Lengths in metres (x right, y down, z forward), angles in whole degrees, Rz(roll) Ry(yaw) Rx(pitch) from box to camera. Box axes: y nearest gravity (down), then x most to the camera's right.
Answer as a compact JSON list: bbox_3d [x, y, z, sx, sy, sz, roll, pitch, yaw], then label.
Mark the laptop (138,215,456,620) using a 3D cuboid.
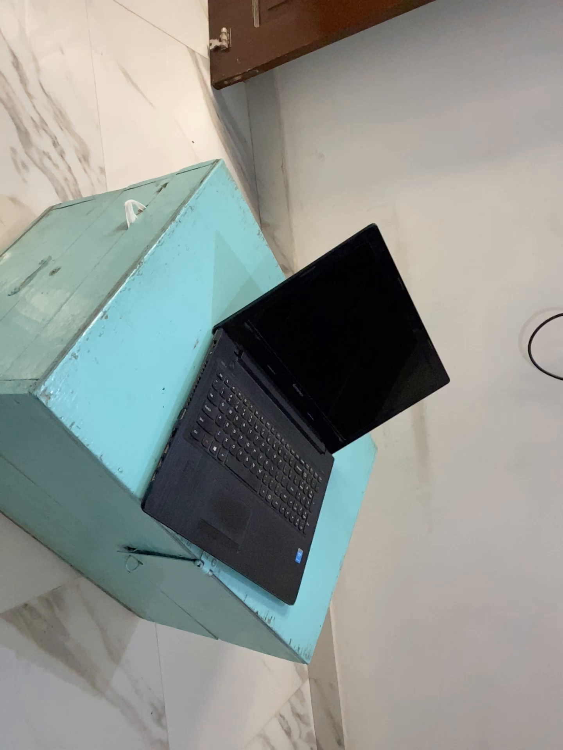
[{"bbox_3d":[0.072,0.073,0.830,0.372,0.190,0.424,51,48,-42],"label":"laptop"}]
